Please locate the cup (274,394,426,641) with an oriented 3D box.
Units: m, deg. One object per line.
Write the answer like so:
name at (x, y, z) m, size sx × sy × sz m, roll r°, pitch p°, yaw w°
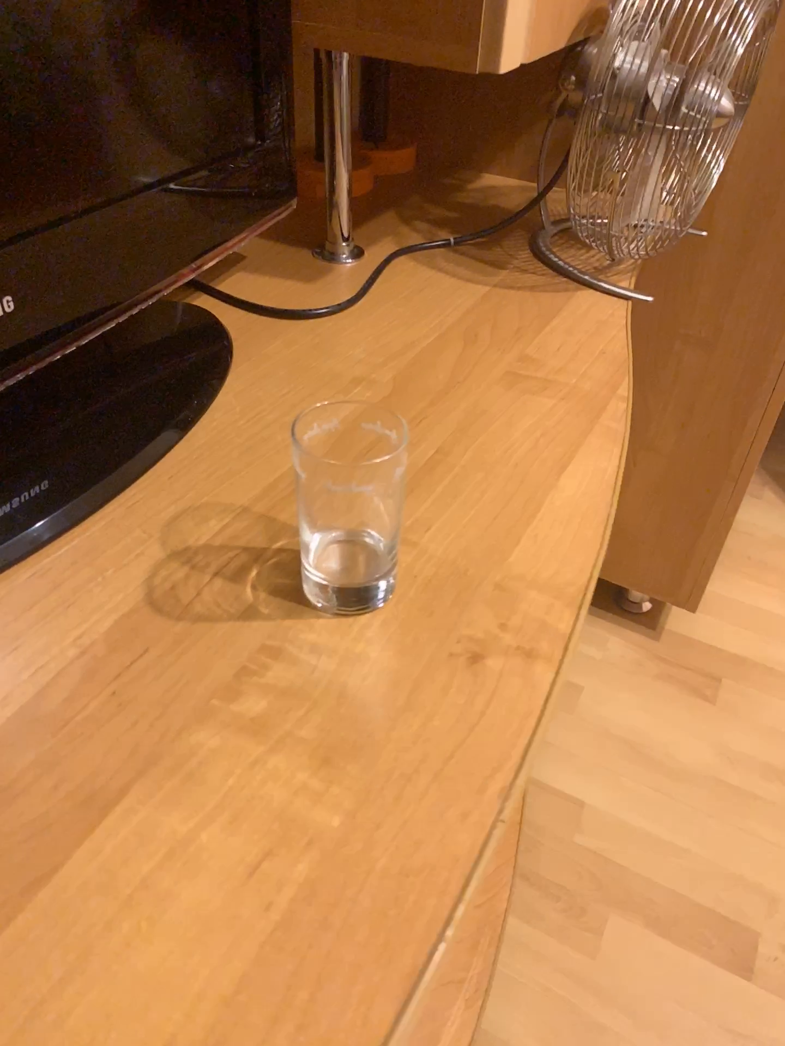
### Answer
cup at (-0.022, -0.002, 0.390) m, size 0.060 × 0.099 × 0.061 m, roll 2°, pitch 39°, yaw -1°
